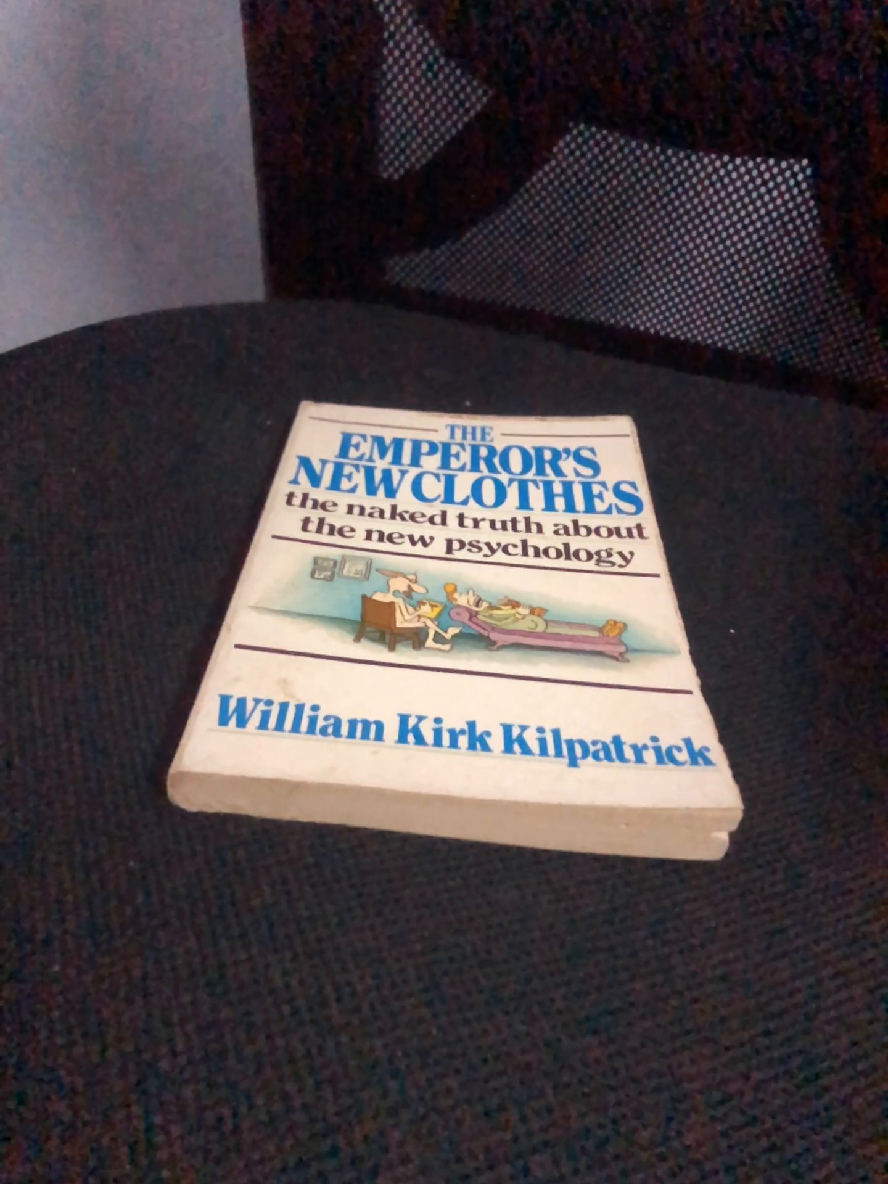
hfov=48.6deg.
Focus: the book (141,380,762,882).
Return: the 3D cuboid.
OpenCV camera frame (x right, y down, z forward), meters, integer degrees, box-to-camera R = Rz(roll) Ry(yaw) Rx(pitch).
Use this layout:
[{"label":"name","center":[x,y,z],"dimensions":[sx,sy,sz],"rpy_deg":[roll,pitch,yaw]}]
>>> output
[{"label":"book","center":[0.006,-0.010,0.328],"dimensions":[0.144,0.020,0.231],"rpy_deg":[6,34,-1]}]
